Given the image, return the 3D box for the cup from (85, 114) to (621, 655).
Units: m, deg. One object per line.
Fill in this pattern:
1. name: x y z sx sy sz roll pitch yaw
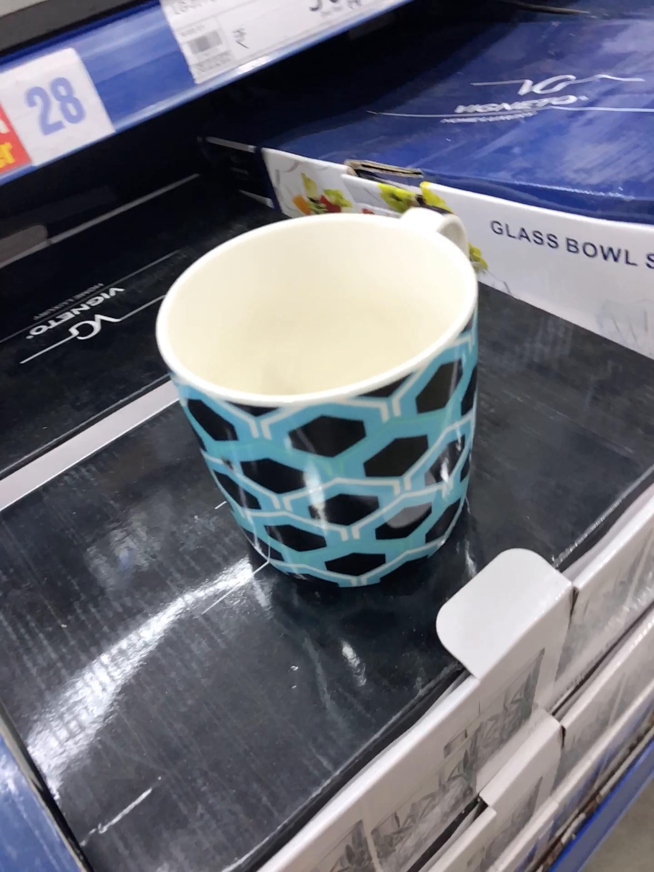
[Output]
1. cup: 0.018 -0.026 0.230 0.090 0.090 0.130 22 53 30
